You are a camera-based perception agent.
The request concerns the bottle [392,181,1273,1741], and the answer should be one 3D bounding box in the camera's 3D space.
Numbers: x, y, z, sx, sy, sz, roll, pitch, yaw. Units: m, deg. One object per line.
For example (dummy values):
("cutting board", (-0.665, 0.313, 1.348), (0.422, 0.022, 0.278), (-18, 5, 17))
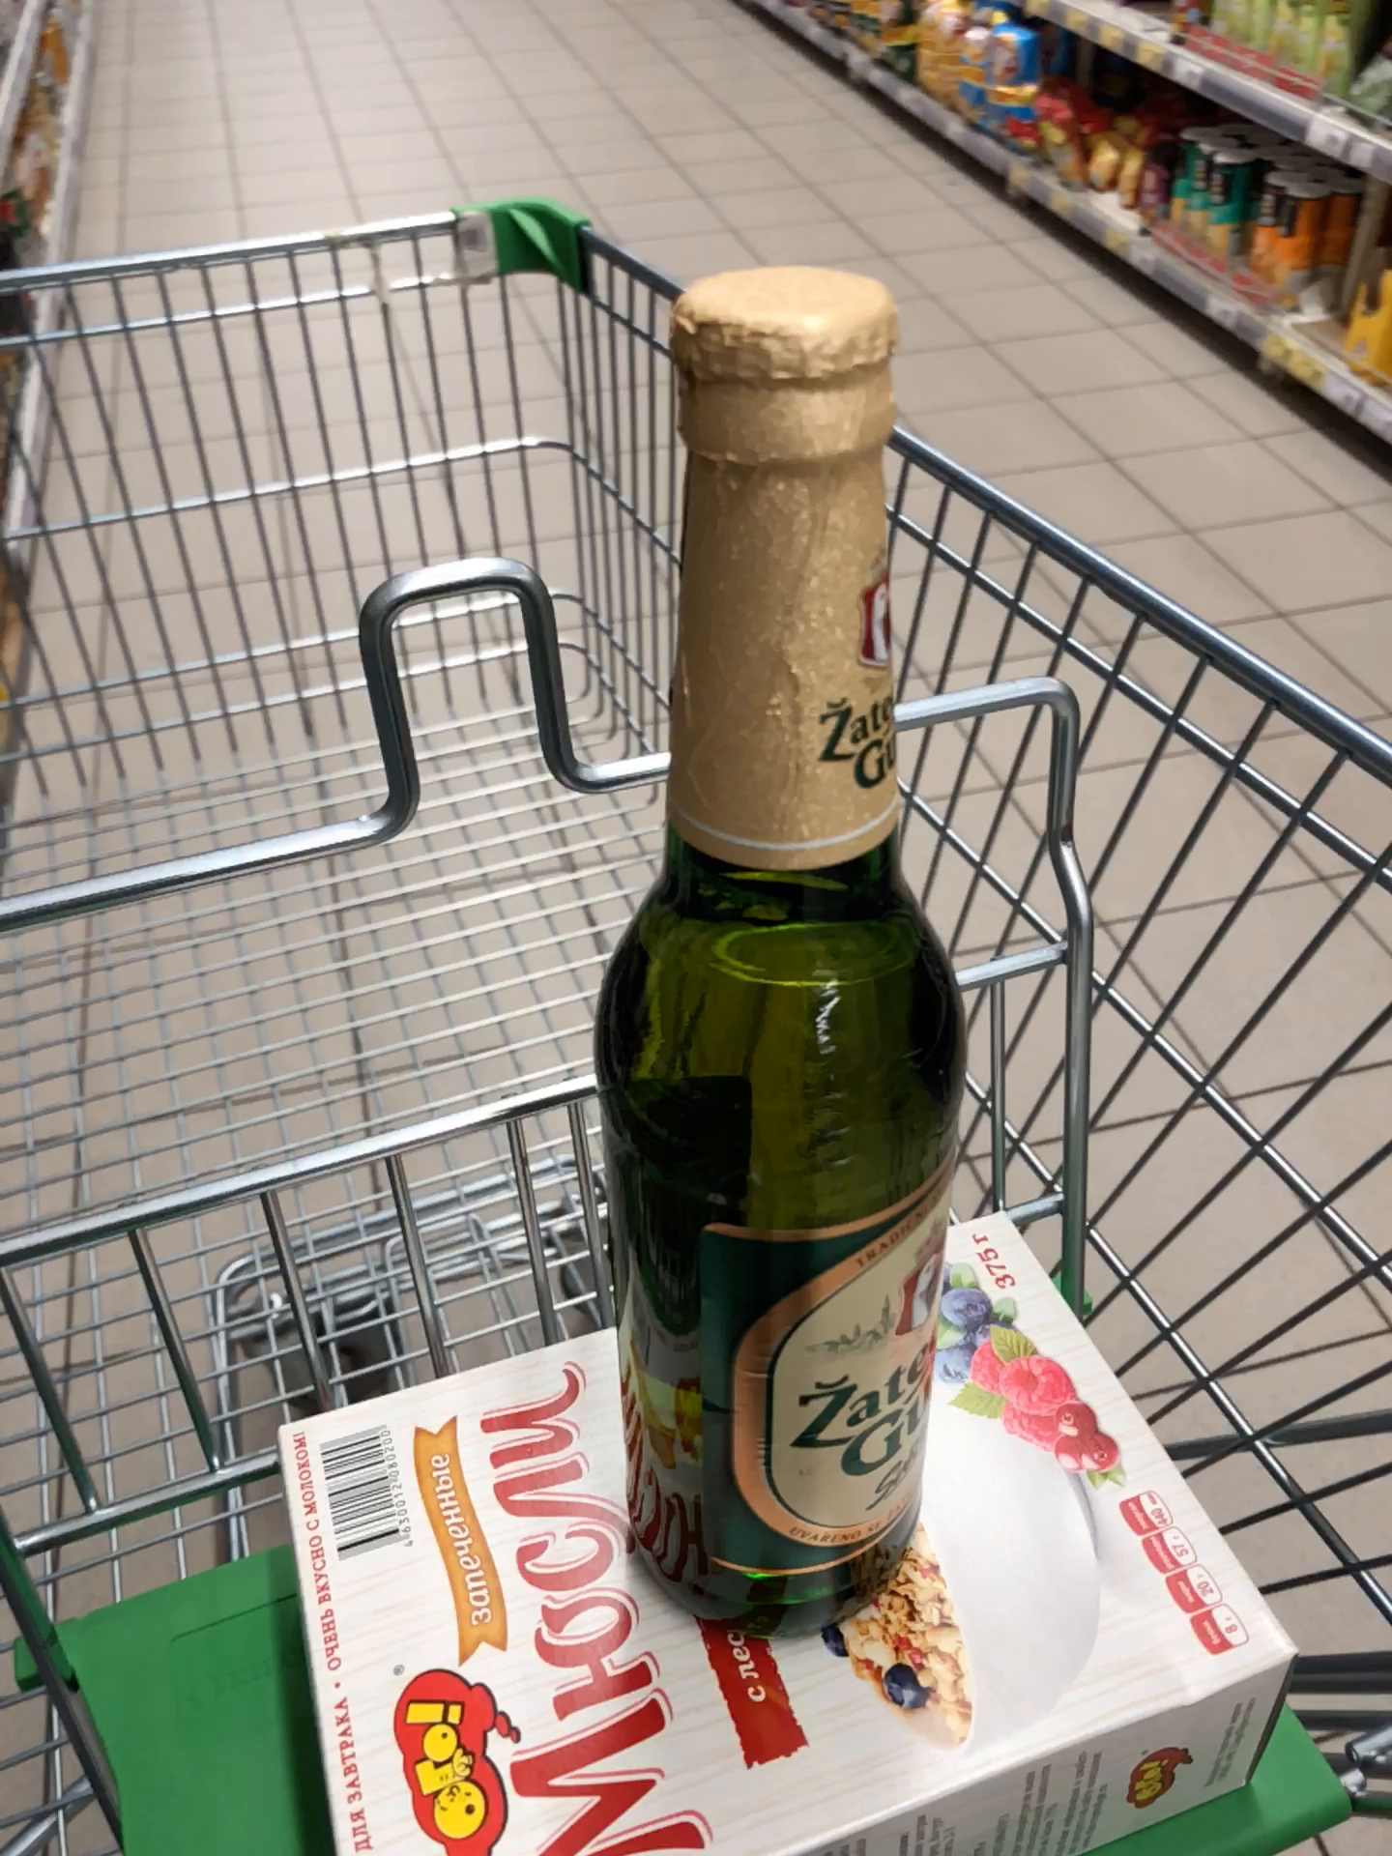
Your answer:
("bottle", (0.019, 0.029, 0.269), (0.070, 0.269, 0.080), (29, 48, 30))
